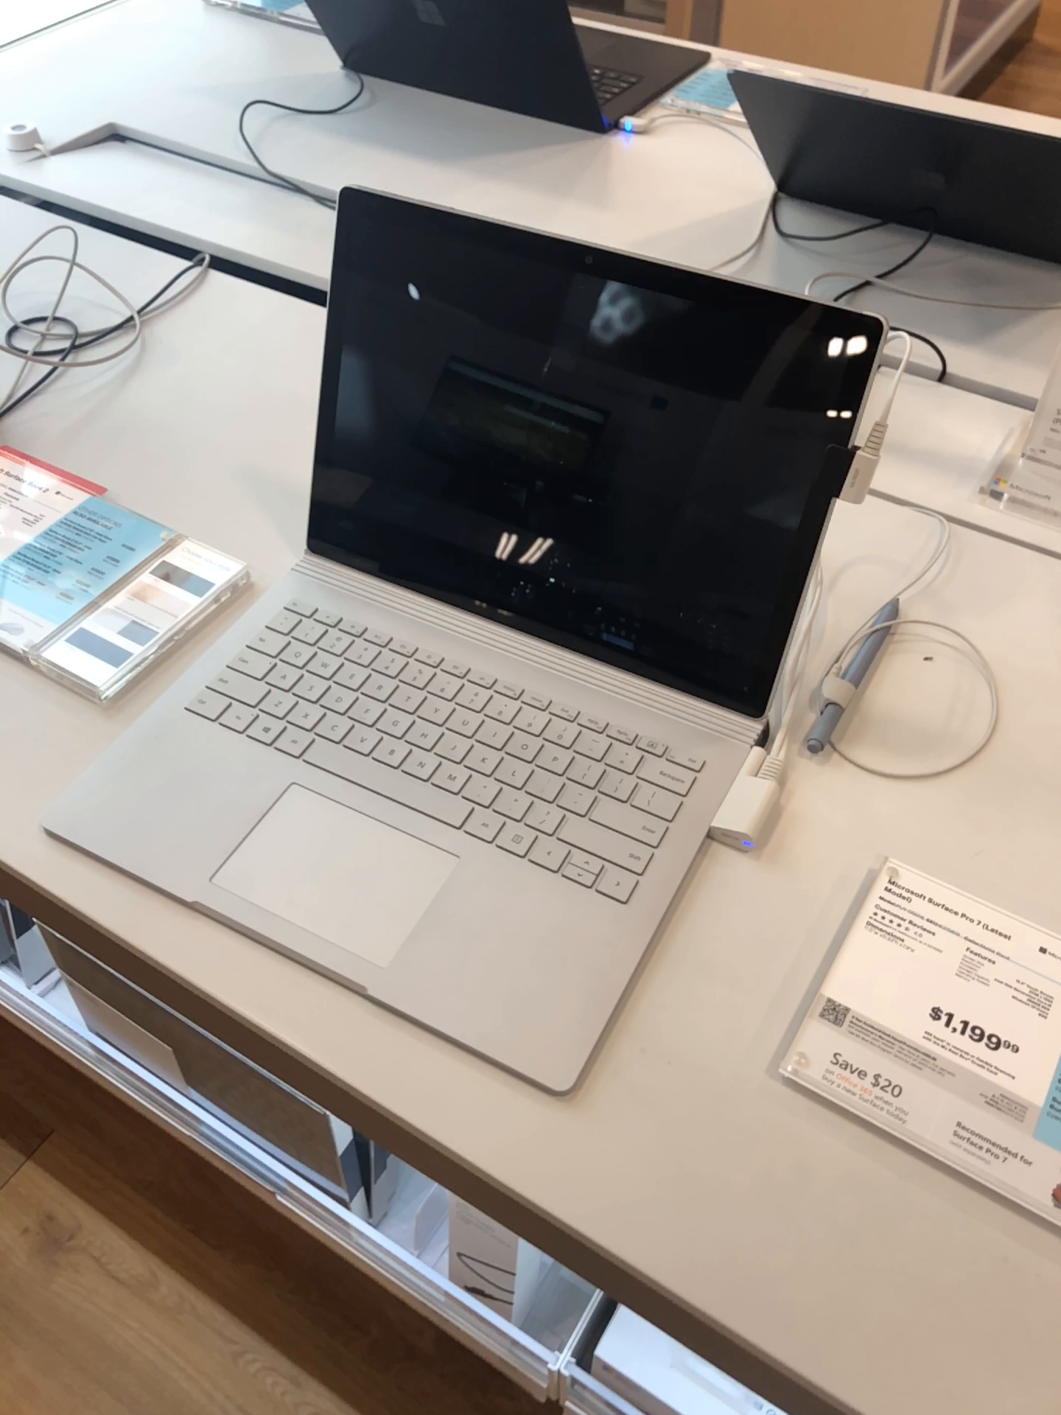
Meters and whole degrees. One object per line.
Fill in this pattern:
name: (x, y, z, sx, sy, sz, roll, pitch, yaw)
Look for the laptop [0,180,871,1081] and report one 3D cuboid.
laptop: (-0.043, -0.064, 0.563, 0.291, 0.191, 0.312, 21, 52, 19)
